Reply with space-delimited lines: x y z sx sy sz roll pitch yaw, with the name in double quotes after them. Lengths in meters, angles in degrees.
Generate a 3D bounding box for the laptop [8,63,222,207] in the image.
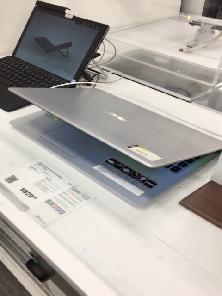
0.010 -0.059 0.571 0.237 0.083 0.362 -30 45 -31 "laptop"
